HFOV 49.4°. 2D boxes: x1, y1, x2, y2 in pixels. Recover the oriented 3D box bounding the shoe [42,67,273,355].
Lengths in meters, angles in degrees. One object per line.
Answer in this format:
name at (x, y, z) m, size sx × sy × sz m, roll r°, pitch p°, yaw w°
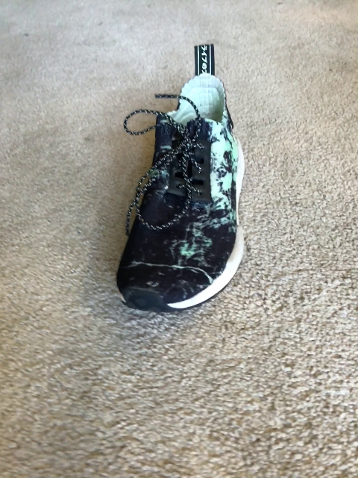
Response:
shoe at (0.009, -0.055, 0.377) m, size 0.131 × 0.100 × 0.289 m, roll 8°, pitch 46°, yaw 11°
